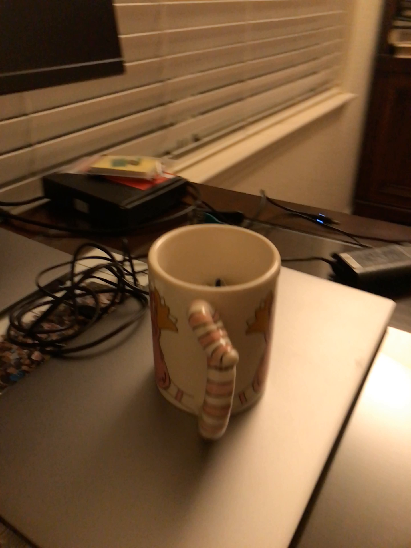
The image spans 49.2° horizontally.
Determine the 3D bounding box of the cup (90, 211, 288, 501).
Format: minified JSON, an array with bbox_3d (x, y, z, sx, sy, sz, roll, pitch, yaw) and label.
[{"bbox_3d":[0.002,0.037,0.267,0.080,0.099,0.131,5,32,9],"label":"cup"}]
